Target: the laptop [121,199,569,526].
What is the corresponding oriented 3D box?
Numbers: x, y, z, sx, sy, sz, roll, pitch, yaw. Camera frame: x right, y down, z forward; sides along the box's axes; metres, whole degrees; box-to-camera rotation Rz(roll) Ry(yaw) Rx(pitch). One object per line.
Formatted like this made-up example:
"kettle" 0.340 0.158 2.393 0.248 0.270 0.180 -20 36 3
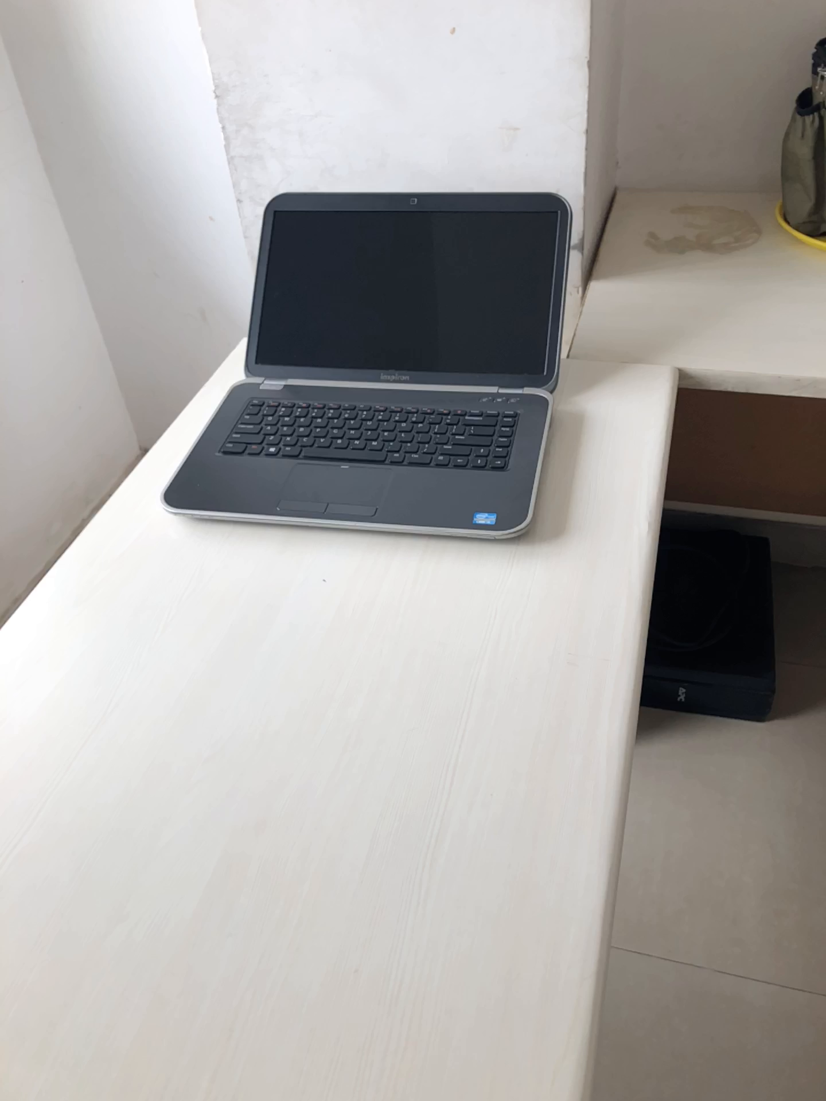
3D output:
"laptop" -0.033 -0.218 0.952 0.341 0.145 0.408 4 42 12
